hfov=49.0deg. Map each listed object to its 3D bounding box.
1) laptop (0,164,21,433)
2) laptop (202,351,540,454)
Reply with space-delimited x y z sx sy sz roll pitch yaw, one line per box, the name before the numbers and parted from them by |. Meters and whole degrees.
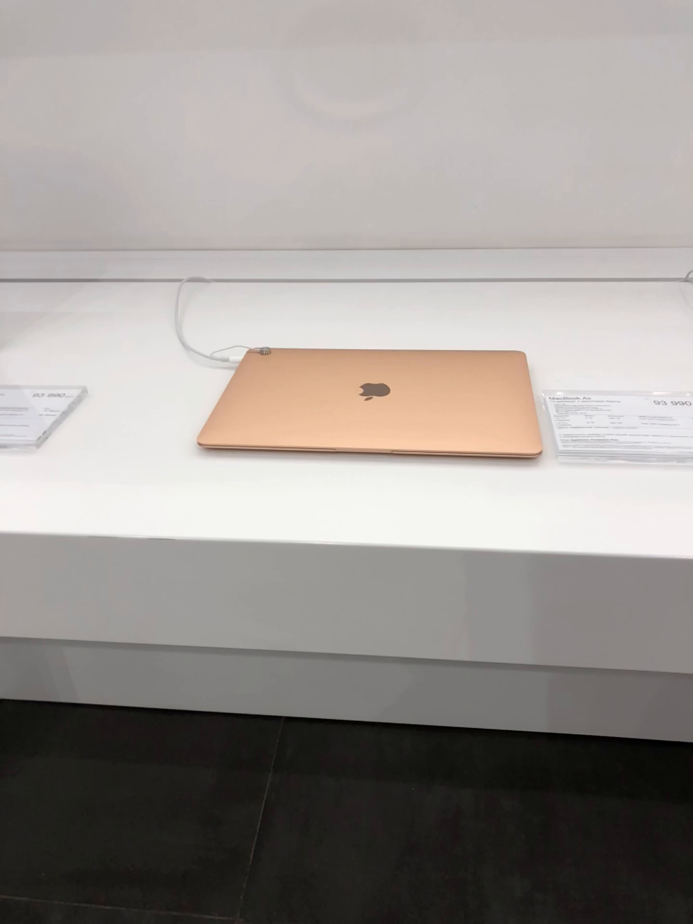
laptop | -0.590 -0.189 0.821 0.303 0.180 0.313 1 32 7
laptop | 0.029 -0.064 0.742 0.293 0.005 0.202 1 32 7
